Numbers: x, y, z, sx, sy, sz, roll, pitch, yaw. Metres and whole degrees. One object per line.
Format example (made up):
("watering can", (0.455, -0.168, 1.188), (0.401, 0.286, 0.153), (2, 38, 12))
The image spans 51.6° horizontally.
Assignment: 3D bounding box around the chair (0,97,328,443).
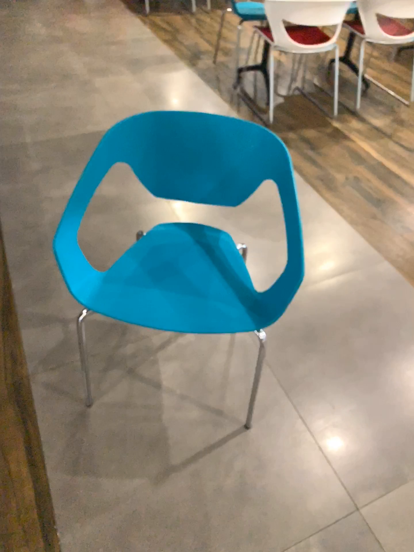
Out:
("chair", (-0.070, -0.004, 1.242), (0.610, 0.724, 0.595), (7, 46, 3))
